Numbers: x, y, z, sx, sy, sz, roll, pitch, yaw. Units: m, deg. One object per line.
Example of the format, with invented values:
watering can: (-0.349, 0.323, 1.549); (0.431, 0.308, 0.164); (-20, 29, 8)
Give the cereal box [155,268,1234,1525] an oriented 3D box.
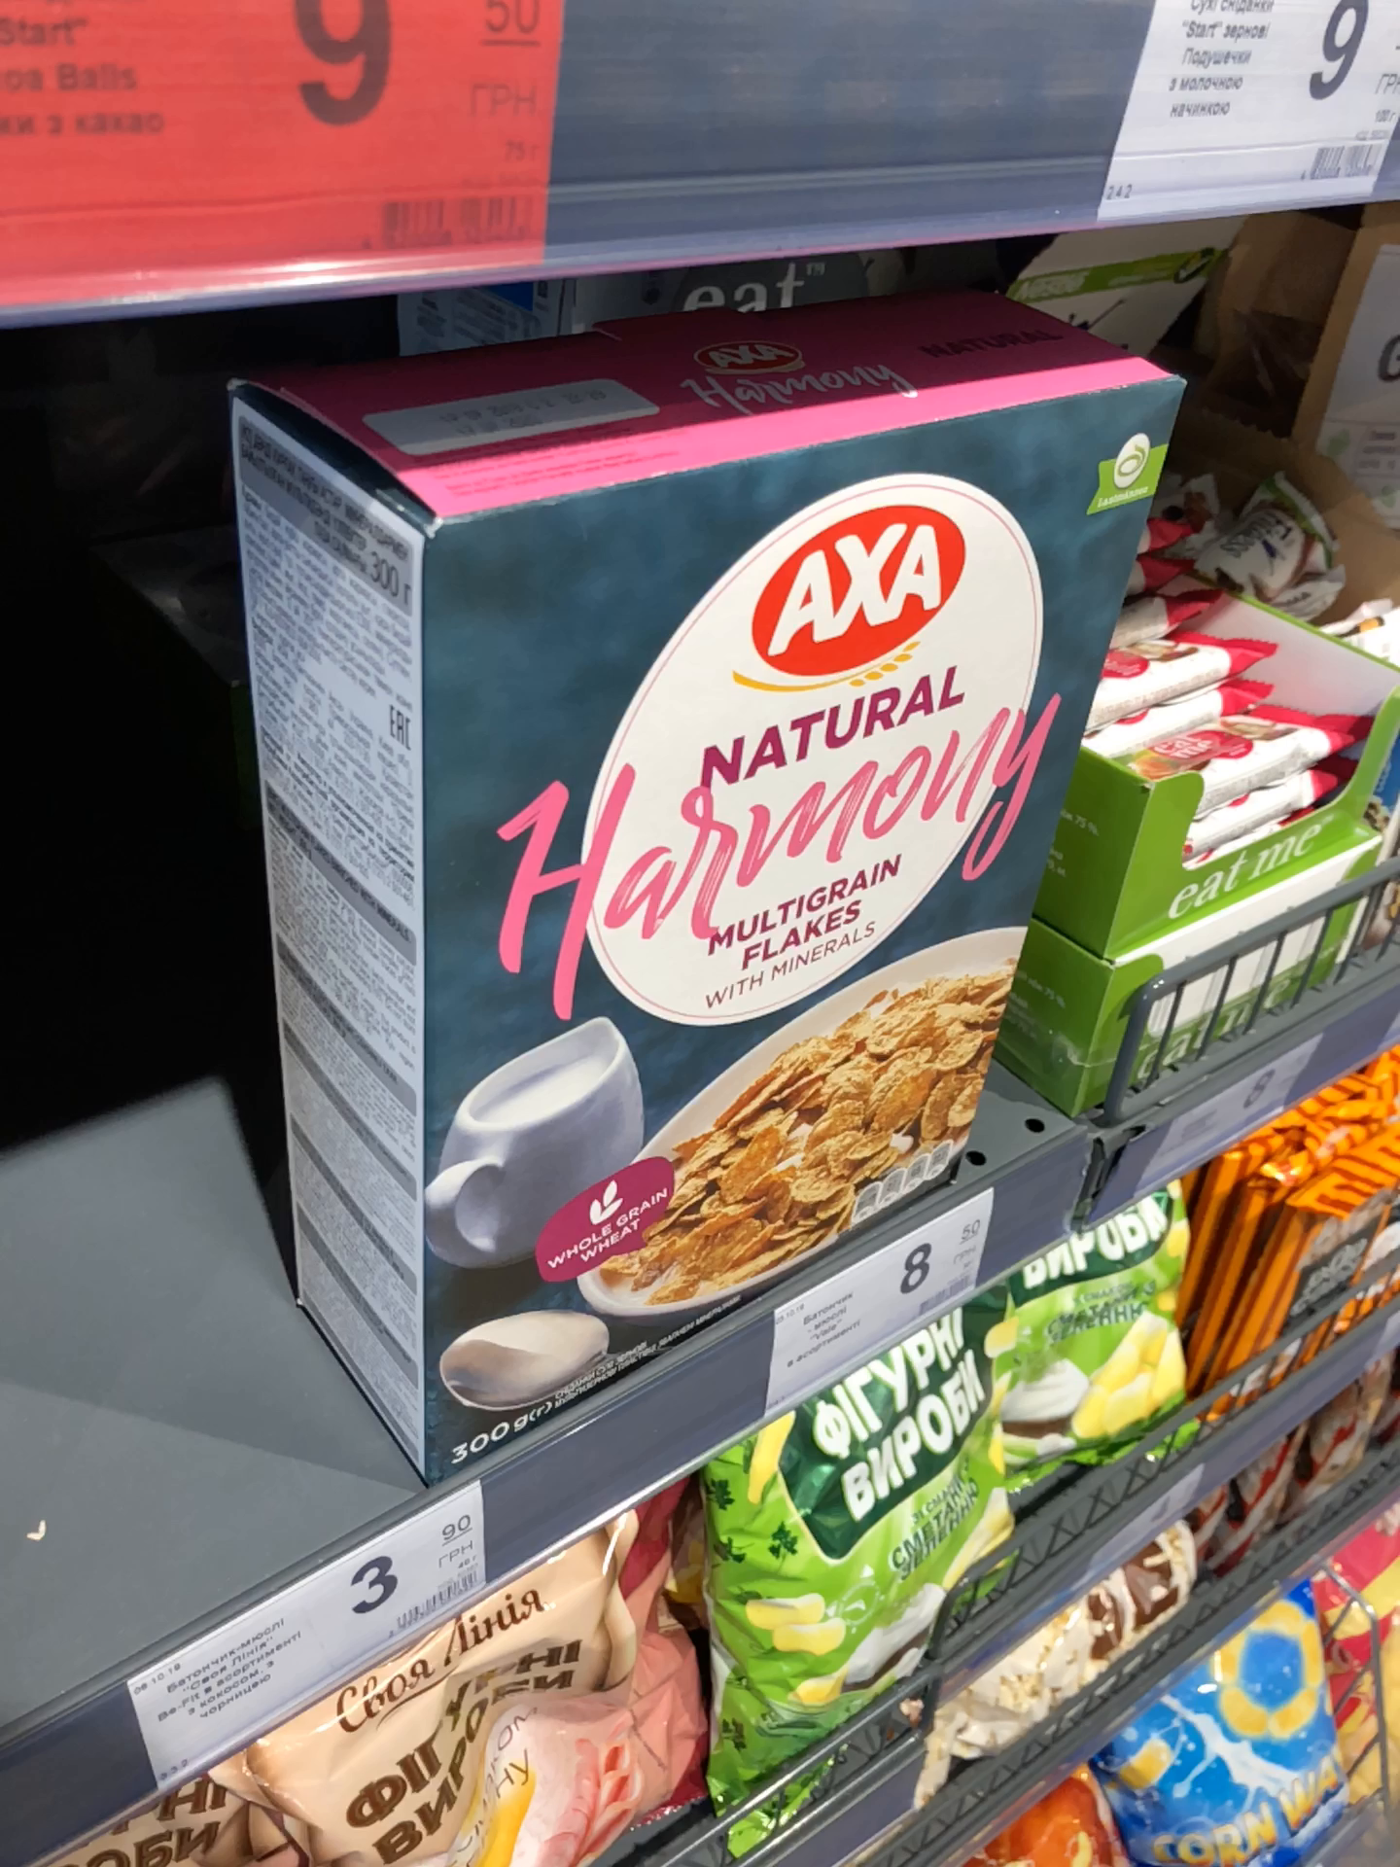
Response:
cereal box: (-0.002, -0.009, 0.330); (0.181, 0.218, 0.070); (-22, 46, -33)
